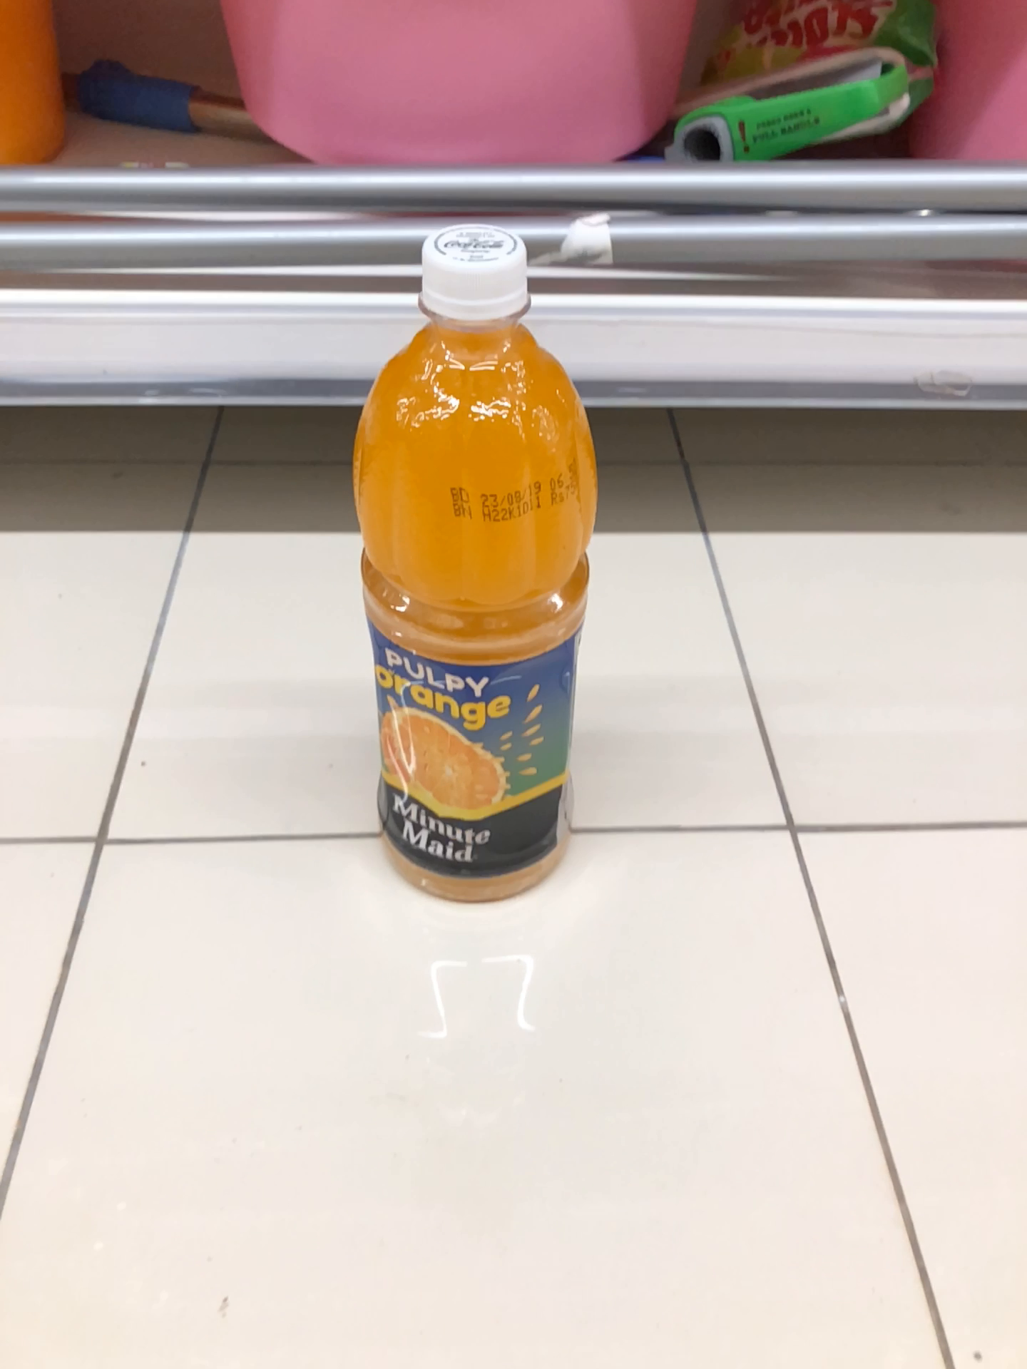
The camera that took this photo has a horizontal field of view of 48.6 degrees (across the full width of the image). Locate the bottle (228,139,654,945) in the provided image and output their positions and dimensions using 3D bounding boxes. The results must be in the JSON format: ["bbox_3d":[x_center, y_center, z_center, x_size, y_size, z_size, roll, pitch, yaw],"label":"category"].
[{"bbox_3d":[-0.022,-0.034,0.407,0.090,0.268,0.081,21,45,20],"label":"bottle"}]
